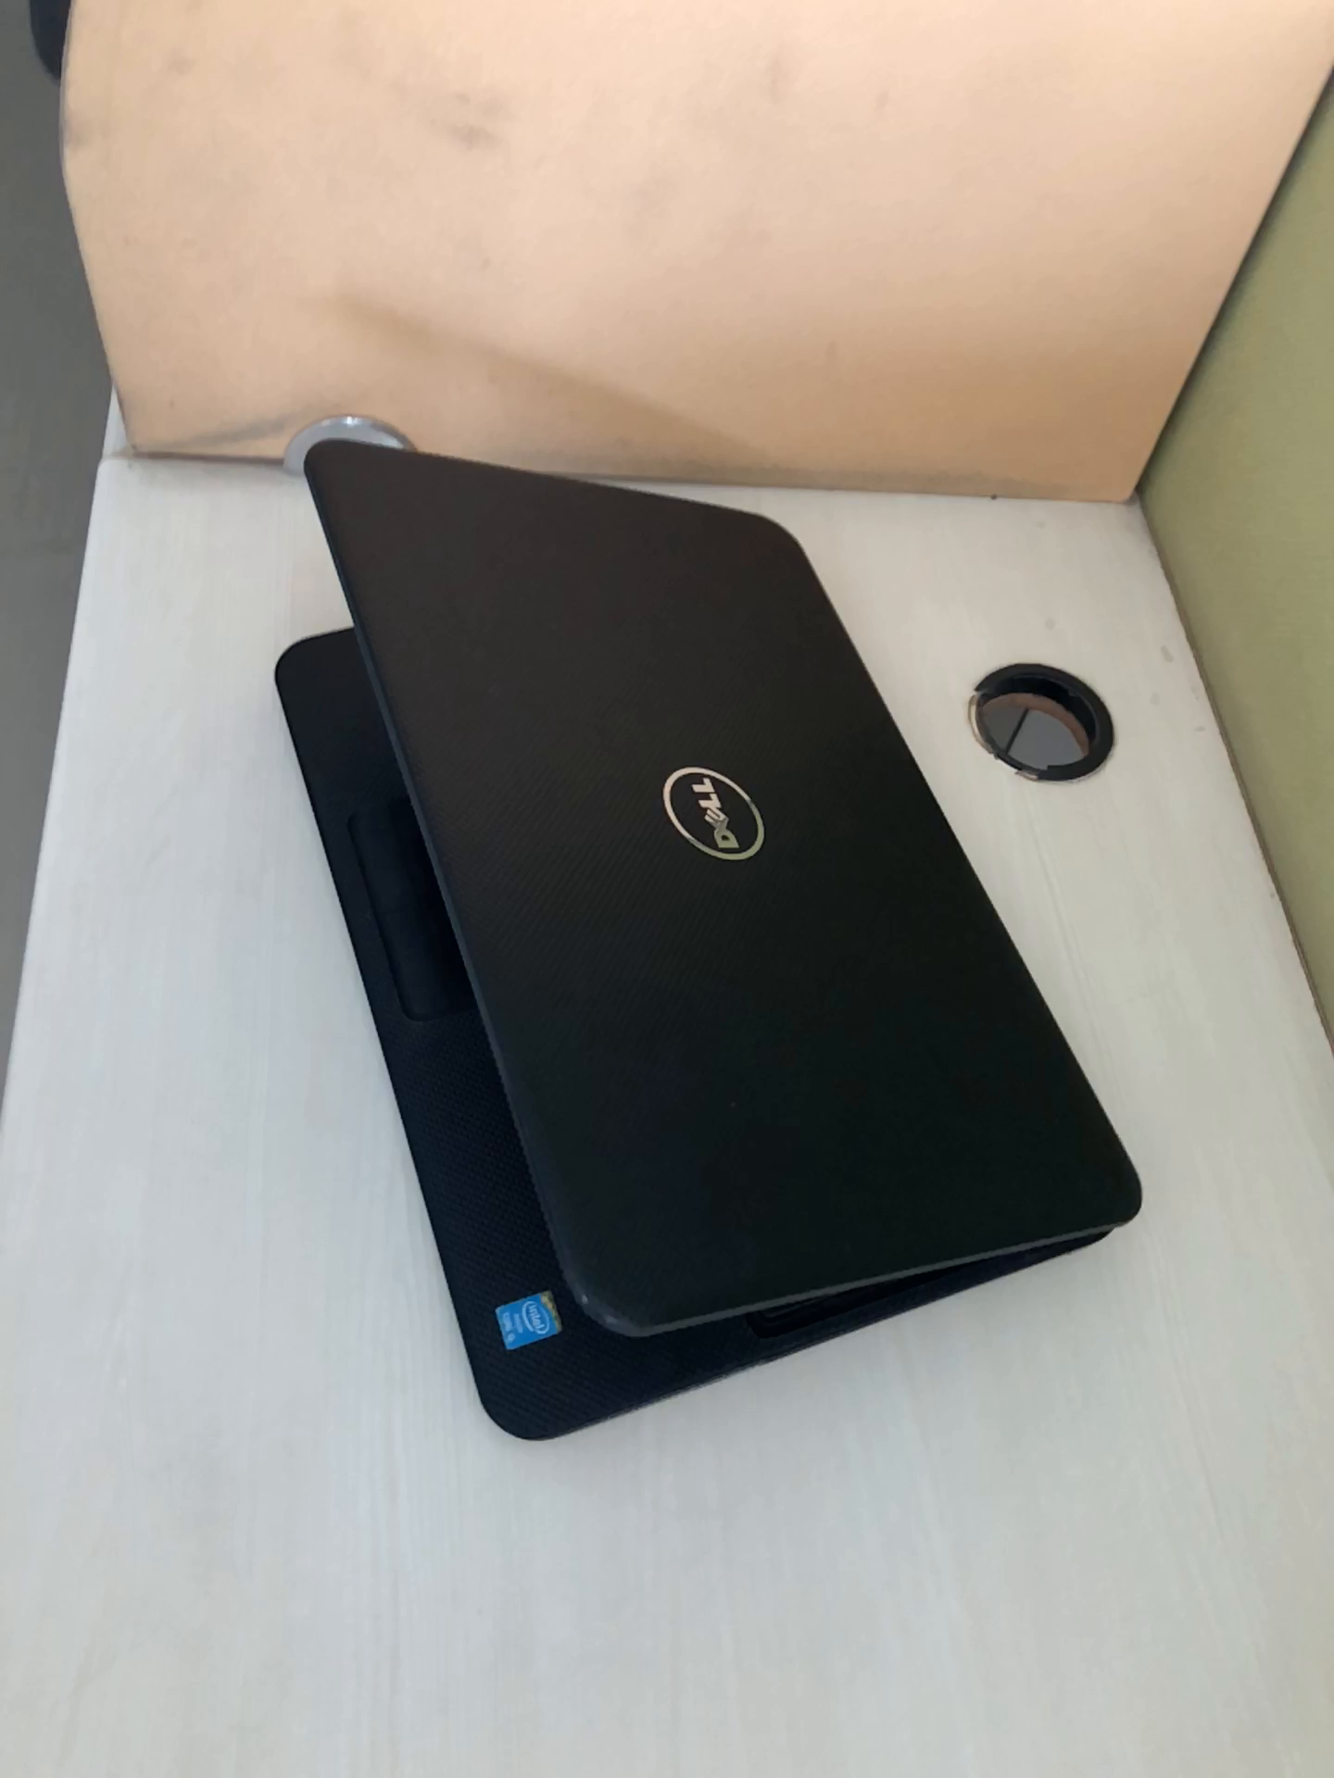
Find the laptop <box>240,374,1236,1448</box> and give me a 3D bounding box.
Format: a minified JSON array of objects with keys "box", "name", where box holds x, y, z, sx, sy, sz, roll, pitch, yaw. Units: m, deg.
[{"box":[0.001,-0.016,0.577,0.247,0.107,0.367,-15,61,-13],"name":"laptop"}]
